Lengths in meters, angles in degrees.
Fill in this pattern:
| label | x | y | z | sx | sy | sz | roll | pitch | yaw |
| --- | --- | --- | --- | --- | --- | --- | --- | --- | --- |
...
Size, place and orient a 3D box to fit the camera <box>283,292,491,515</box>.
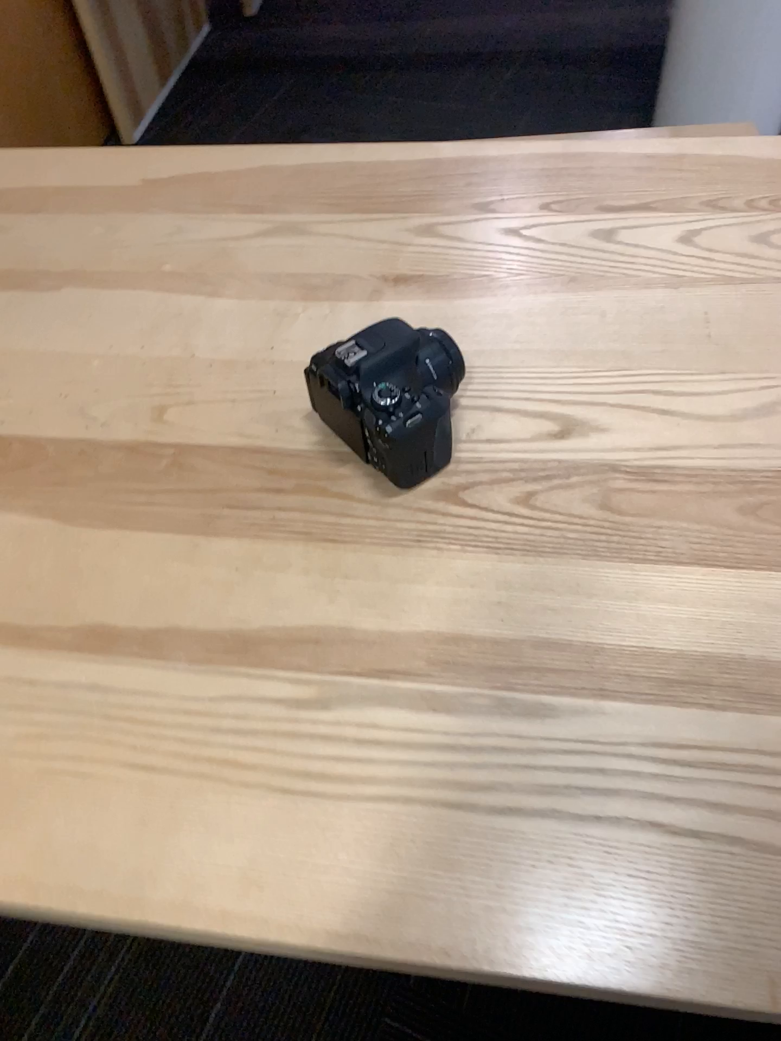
| label | x | y | z | sx | sy | sz | roll | pitch | yaw |
| --- | --- | --- | --- | --- | --- | --- | --- | --- | --- |
| camera | -0.001 | -0.098 | 0.657 | 0.112 | 0.094 | 0.120 | -33 | 56 | -19 |
